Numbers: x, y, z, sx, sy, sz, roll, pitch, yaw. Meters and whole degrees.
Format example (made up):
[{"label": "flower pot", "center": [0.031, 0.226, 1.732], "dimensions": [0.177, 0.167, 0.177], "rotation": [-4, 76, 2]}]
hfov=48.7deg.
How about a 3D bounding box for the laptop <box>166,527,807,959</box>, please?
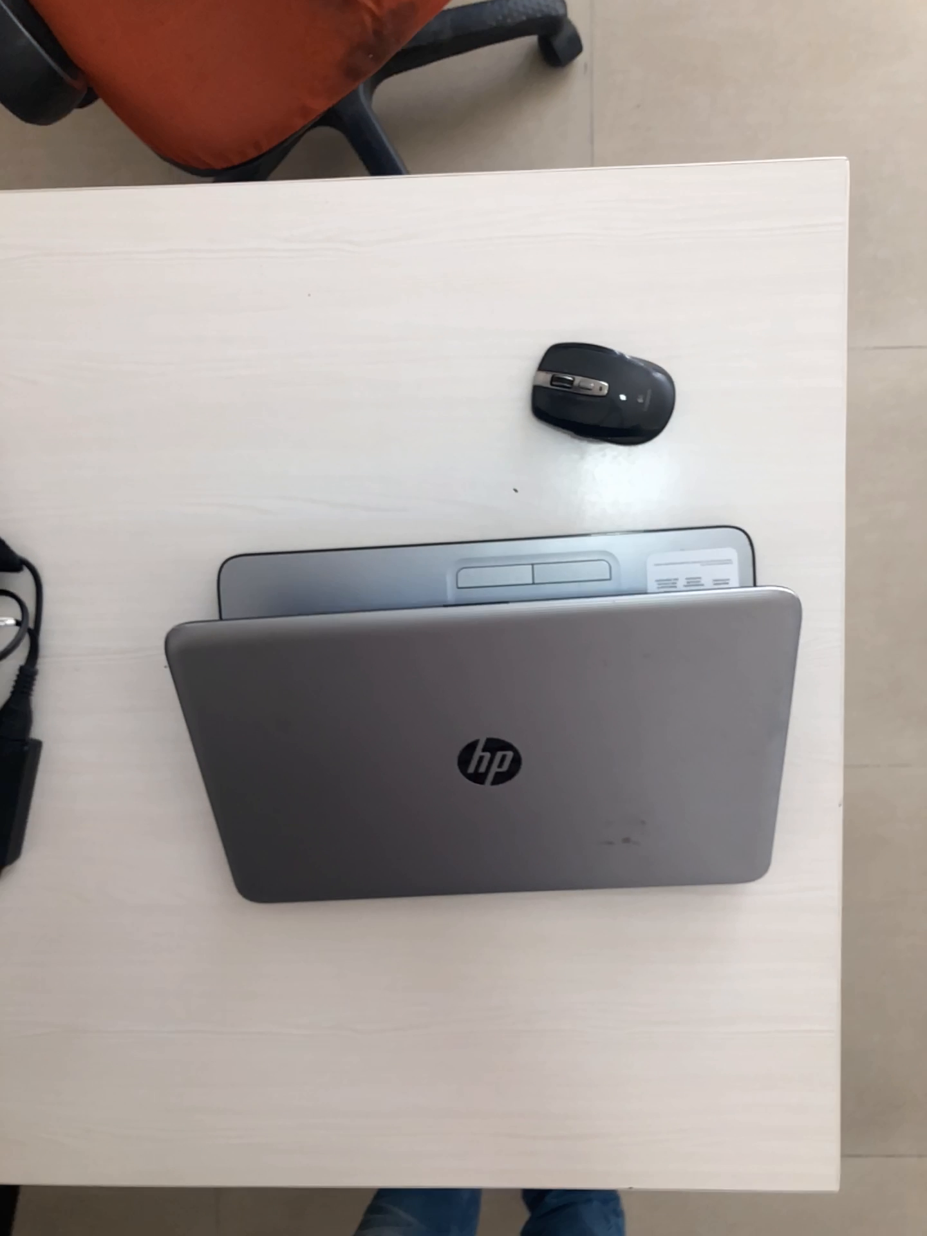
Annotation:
[{"label": "laptop", "center": [0.017, 0.076, 0.679], "dimensions": [0.369, 0.121, 0.251], "rotation": [-3, 96, 4]}]
